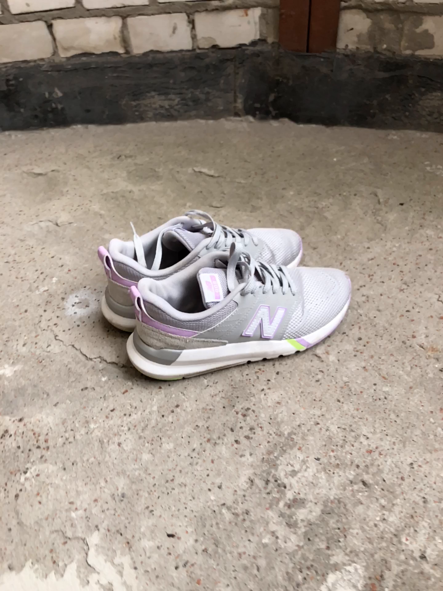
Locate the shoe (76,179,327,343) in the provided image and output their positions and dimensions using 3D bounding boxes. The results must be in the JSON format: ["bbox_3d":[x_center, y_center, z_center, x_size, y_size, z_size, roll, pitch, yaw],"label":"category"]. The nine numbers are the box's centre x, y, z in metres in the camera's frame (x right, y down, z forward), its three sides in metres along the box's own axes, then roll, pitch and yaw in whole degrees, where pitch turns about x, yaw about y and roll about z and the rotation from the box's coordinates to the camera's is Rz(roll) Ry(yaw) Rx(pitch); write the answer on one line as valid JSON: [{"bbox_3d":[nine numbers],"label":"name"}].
[{"bbox_3d":[-0.023,-0.050,0.599,0.270,0.099,0.111,-15,43,-19],"label":"shoe"}]

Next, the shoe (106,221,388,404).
[{"bbox_3d":[0.025,0.010,0.537,0.270,0.099,0.111,-12,42,-16],"label":"shoe"}]
